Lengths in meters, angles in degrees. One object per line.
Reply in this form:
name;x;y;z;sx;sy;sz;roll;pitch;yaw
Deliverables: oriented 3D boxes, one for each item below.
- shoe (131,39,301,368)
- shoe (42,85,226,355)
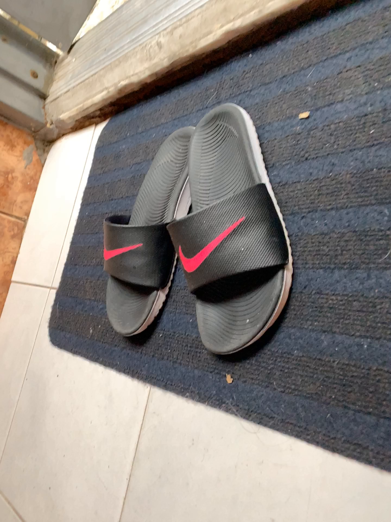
shoe;0.015;-0.045;0.342;0.099;0.078;0.251;-19;61;40
shoe;-0.066;-0.042;0.425;0.099;0.078;0.251;14;84;48
